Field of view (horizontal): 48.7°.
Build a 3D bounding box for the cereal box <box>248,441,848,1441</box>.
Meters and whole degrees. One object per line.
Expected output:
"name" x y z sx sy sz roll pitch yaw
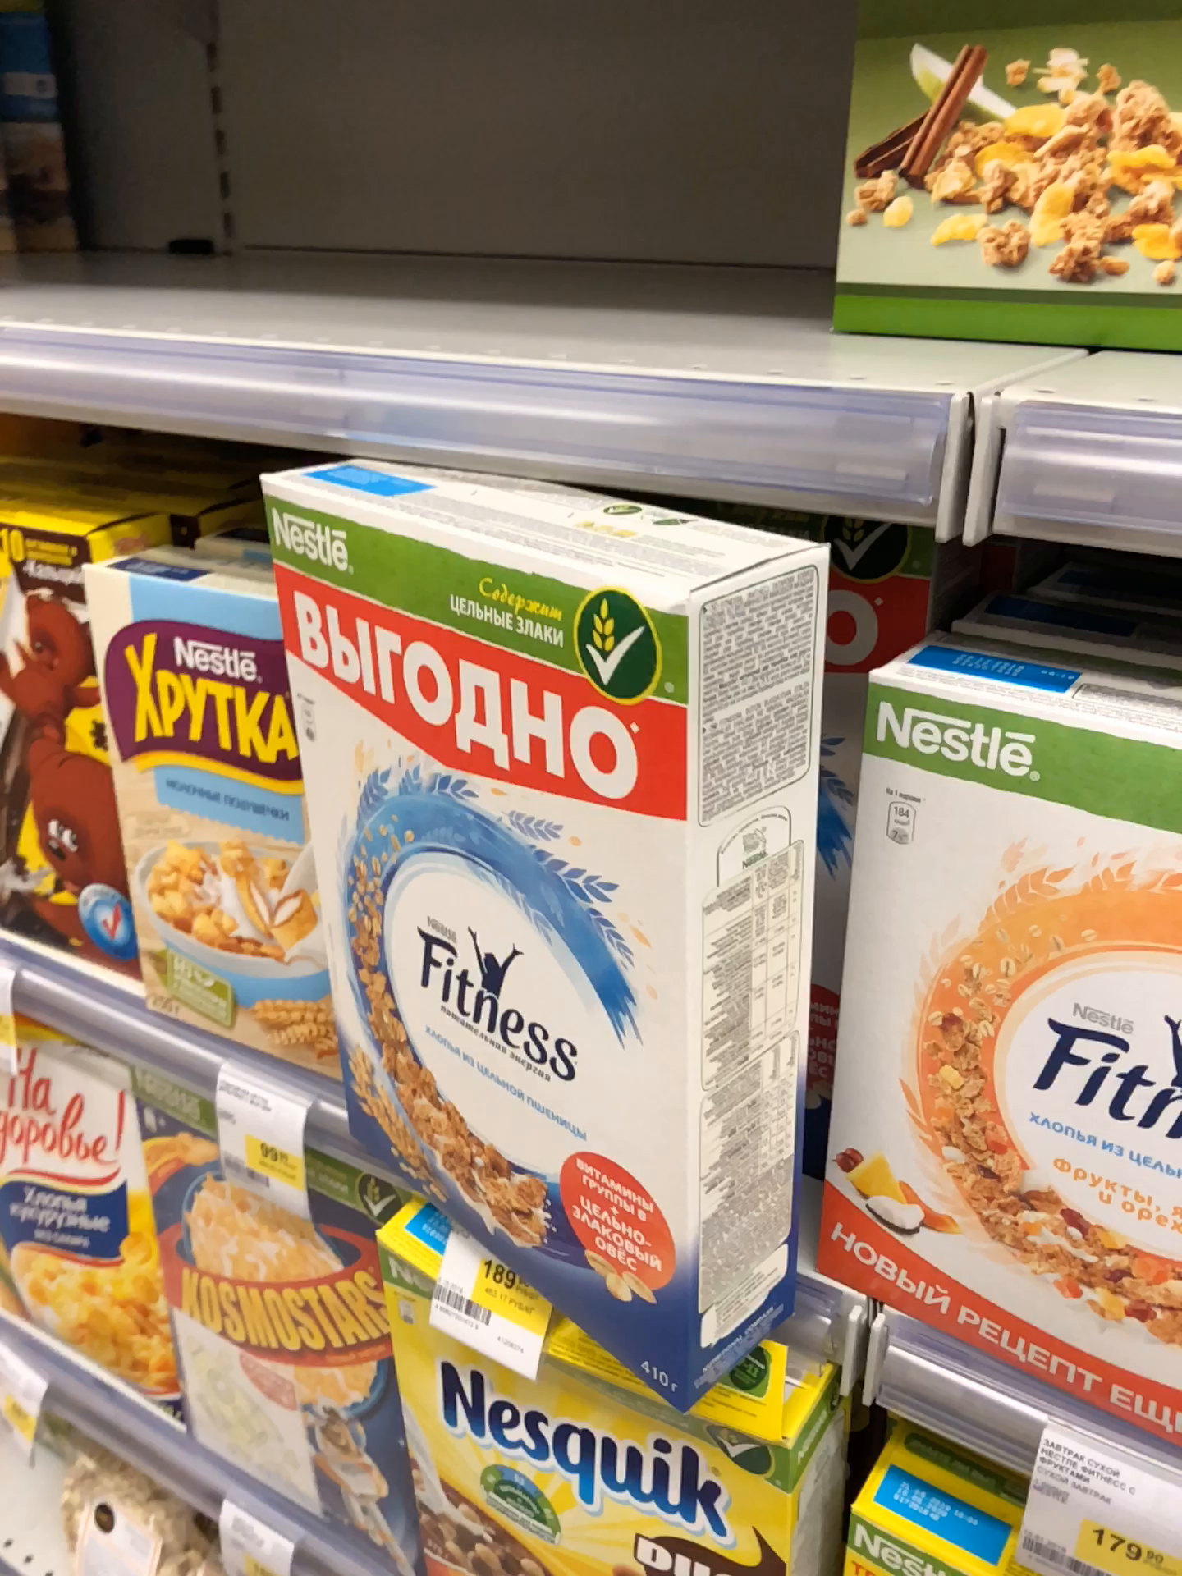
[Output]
"cereal box" -0.019 0.044 0.450 0.060 0.288 0.201 -24 33 -38
